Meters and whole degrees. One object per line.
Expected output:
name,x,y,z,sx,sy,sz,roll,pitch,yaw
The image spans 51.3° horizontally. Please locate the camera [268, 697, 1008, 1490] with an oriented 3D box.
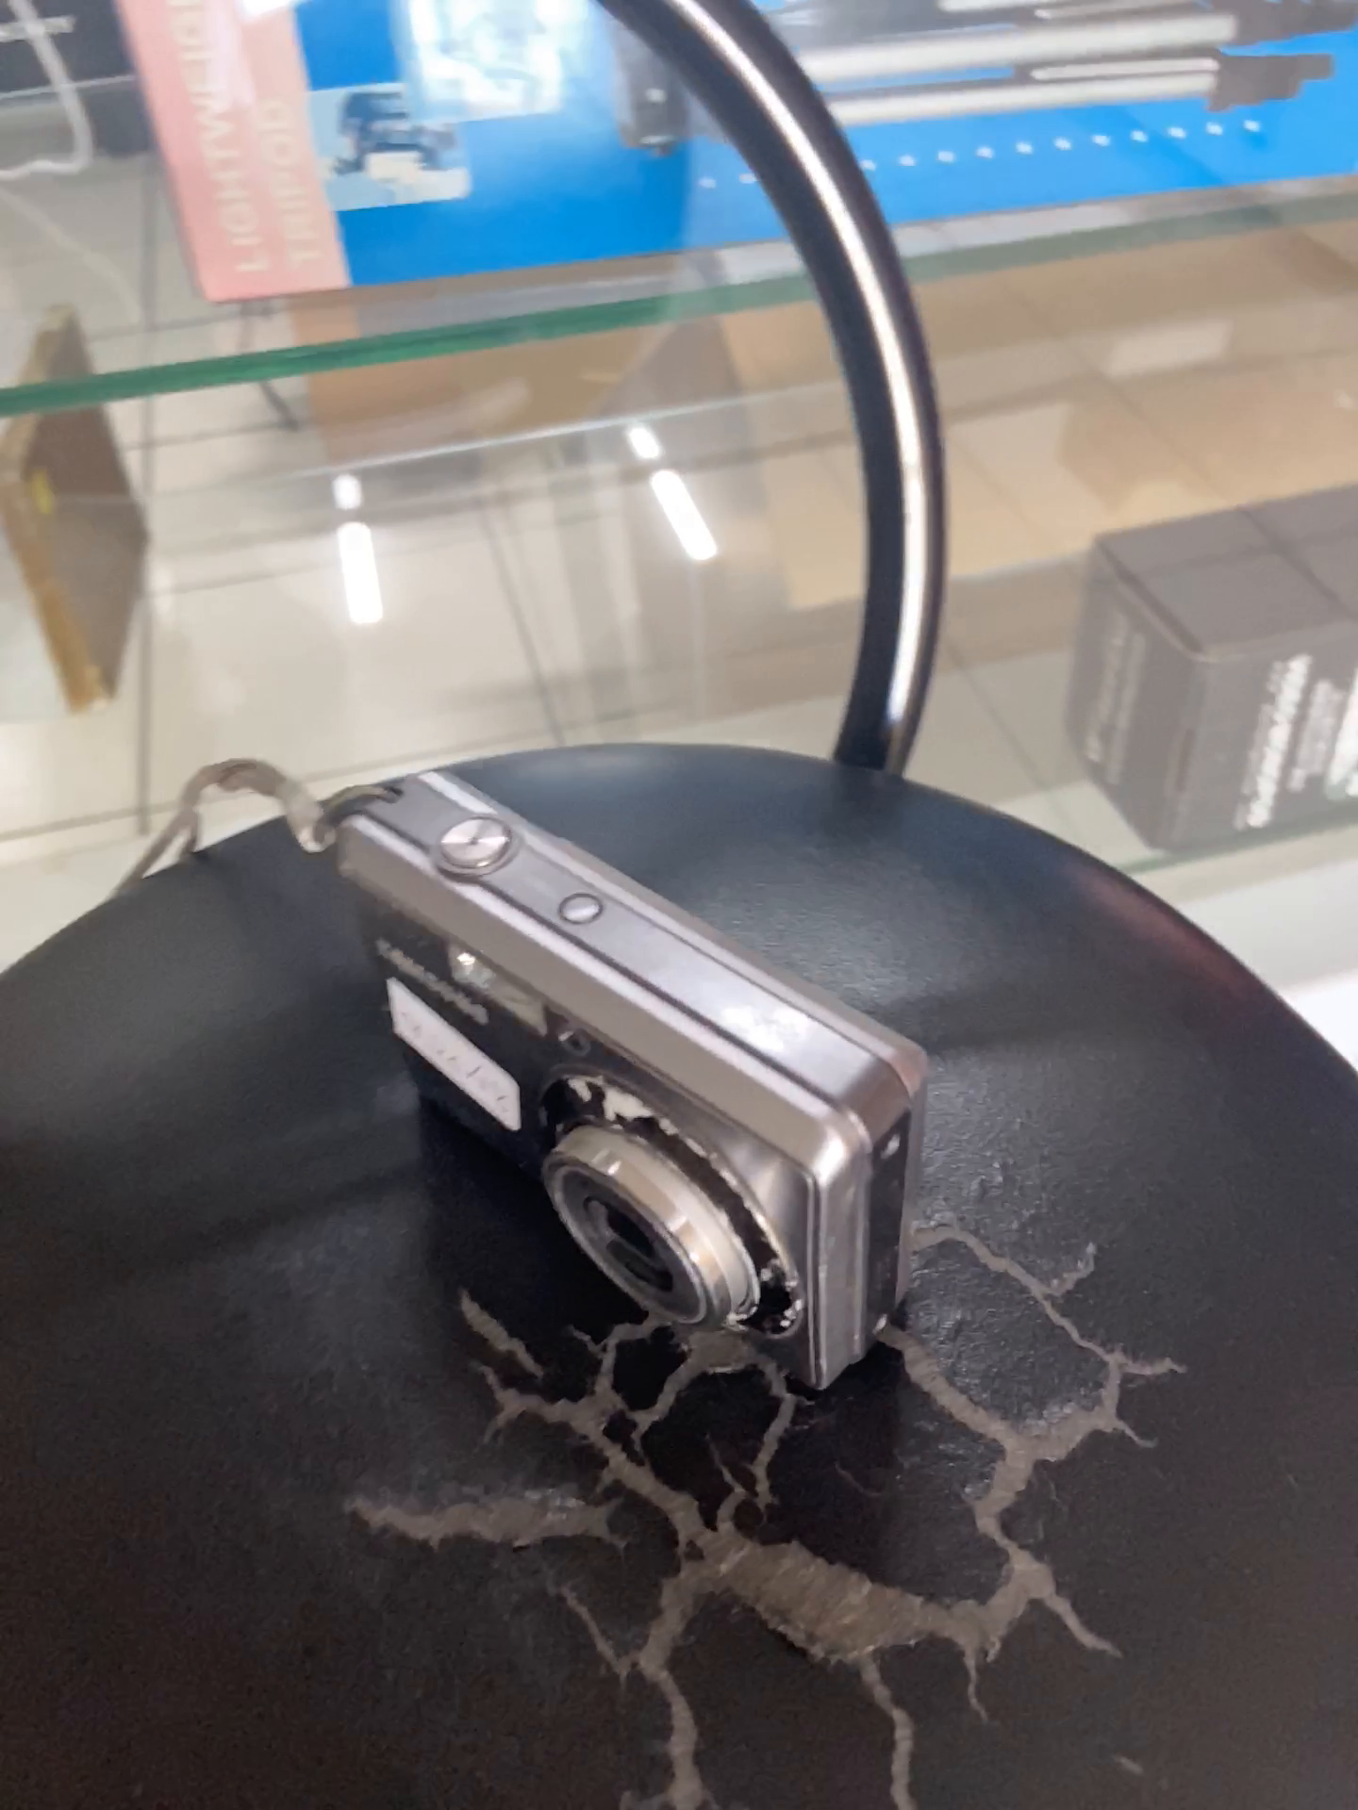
camera,-0.006,0.024,0.202,0.090,0.070,0.040,30,54,31
